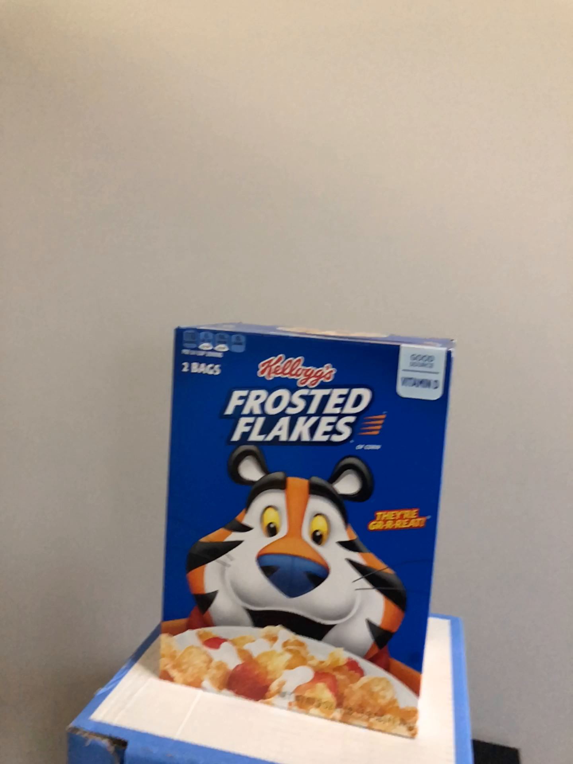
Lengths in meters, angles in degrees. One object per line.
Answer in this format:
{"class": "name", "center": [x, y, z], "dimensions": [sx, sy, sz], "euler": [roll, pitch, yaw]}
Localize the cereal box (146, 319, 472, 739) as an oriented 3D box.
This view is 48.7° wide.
{"class": "cereal box", "center": [0.028, 0.109, 0.610], "dimensions": [0.260, 0.320, 0.170], "euler": [6, 7, 16]}
